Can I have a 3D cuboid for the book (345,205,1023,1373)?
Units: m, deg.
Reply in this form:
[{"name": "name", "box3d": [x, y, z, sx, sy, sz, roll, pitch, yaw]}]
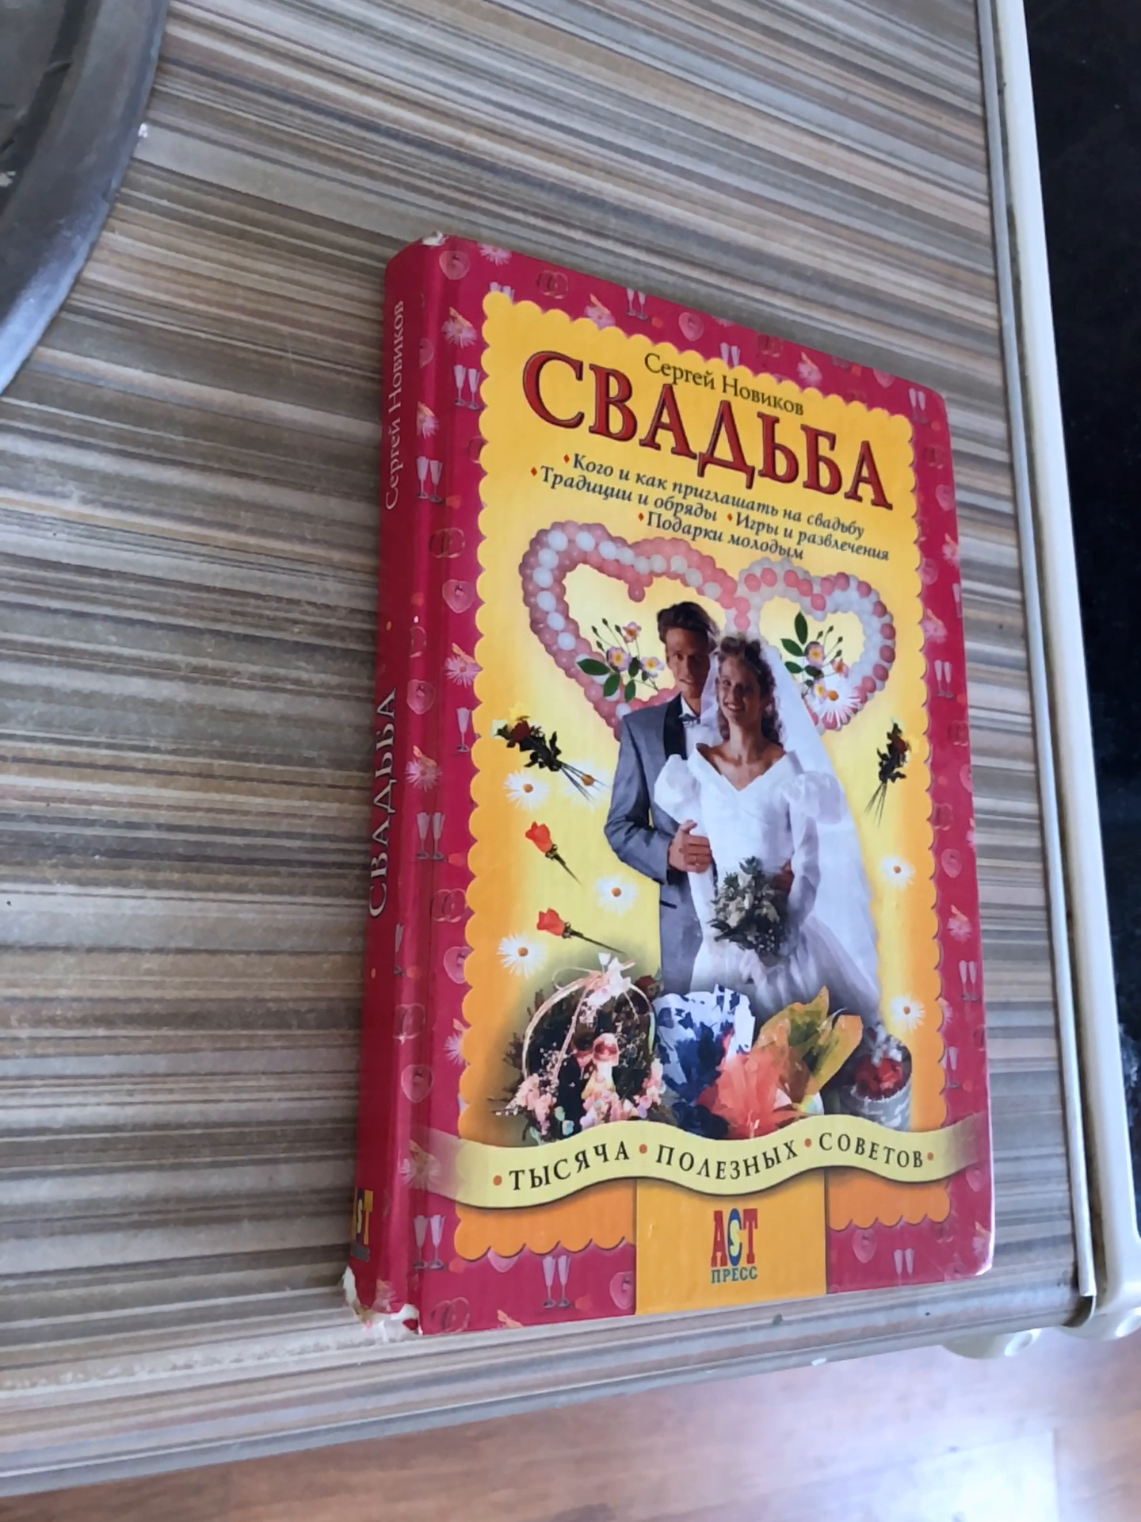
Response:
[{"name": "book", "box3d": [0.030, 0.003, 0.278, 0.150, 0.020, 0.220, 6, 76, -28]}]
